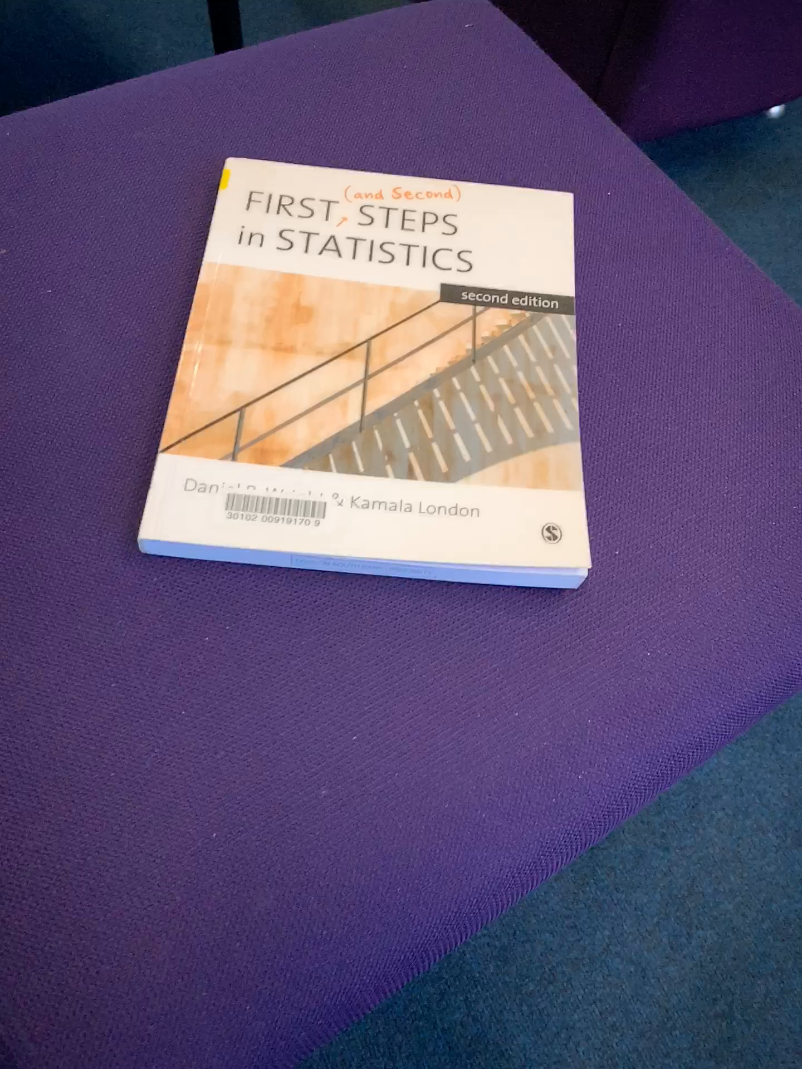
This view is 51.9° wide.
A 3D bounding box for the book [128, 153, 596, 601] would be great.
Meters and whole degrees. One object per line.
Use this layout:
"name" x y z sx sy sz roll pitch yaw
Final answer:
"book" -0.008 -0.087 0.394 0.188 0.022 0.230 6 62 -3
